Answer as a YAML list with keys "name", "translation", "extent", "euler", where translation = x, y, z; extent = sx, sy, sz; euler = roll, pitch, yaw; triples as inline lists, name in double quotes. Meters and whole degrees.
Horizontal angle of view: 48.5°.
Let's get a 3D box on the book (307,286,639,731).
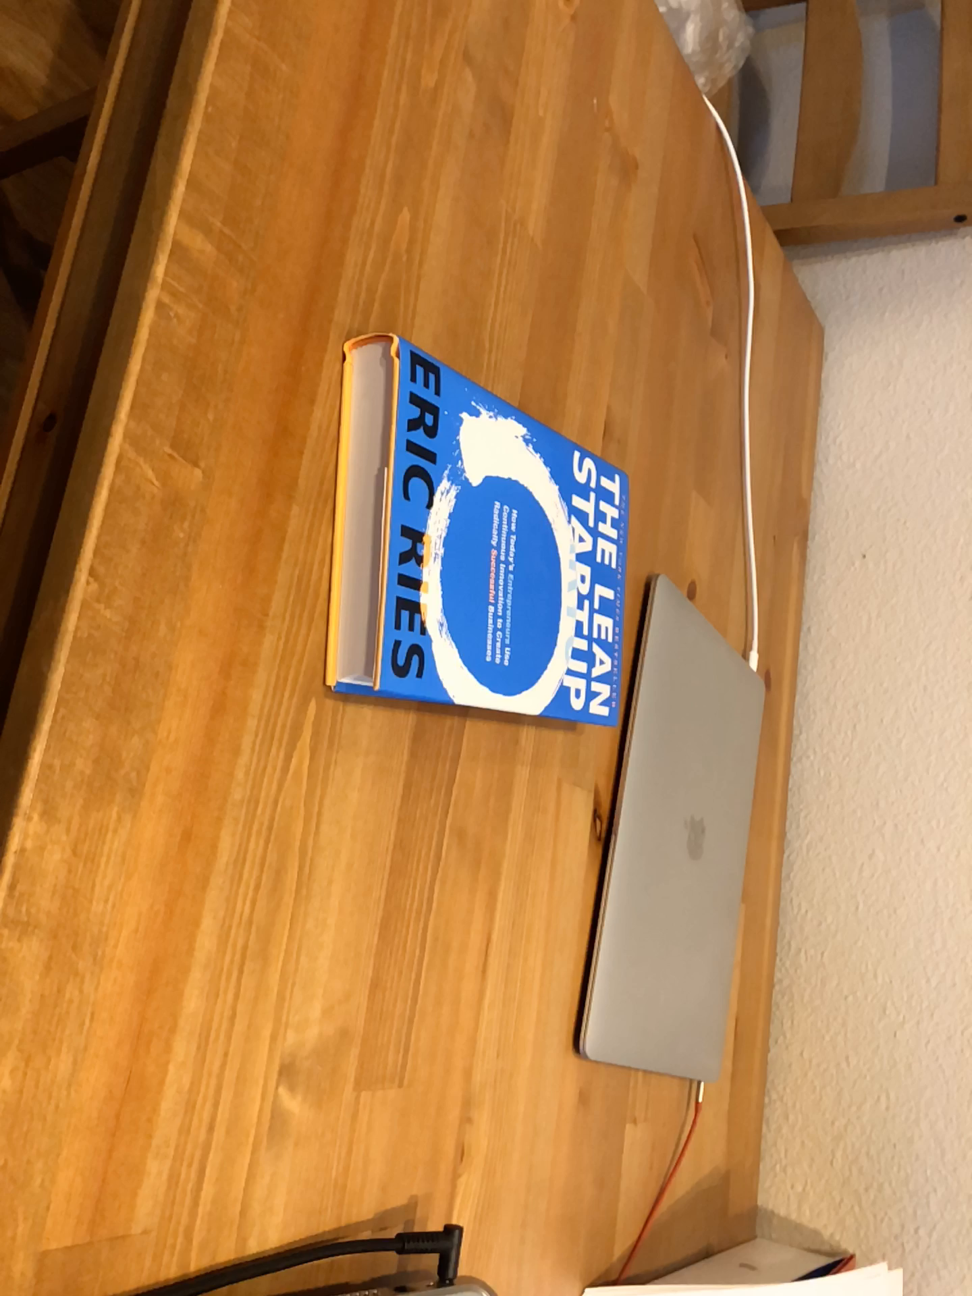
- name: "book"
  translation: [0.007, -0.048, 0.509]
  extent: [0.211, 0.040, 0.160]
  euler: [13, 78, -57]
